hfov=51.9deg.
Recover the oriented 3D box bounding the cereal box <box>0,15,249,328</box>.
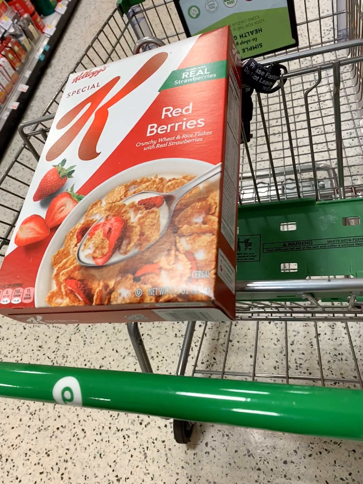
[{"bbox_3d":[-0.042,-0.071,0.356,0.200,0.060,0.292,-6,60,21],"label":"cereal box"}]
